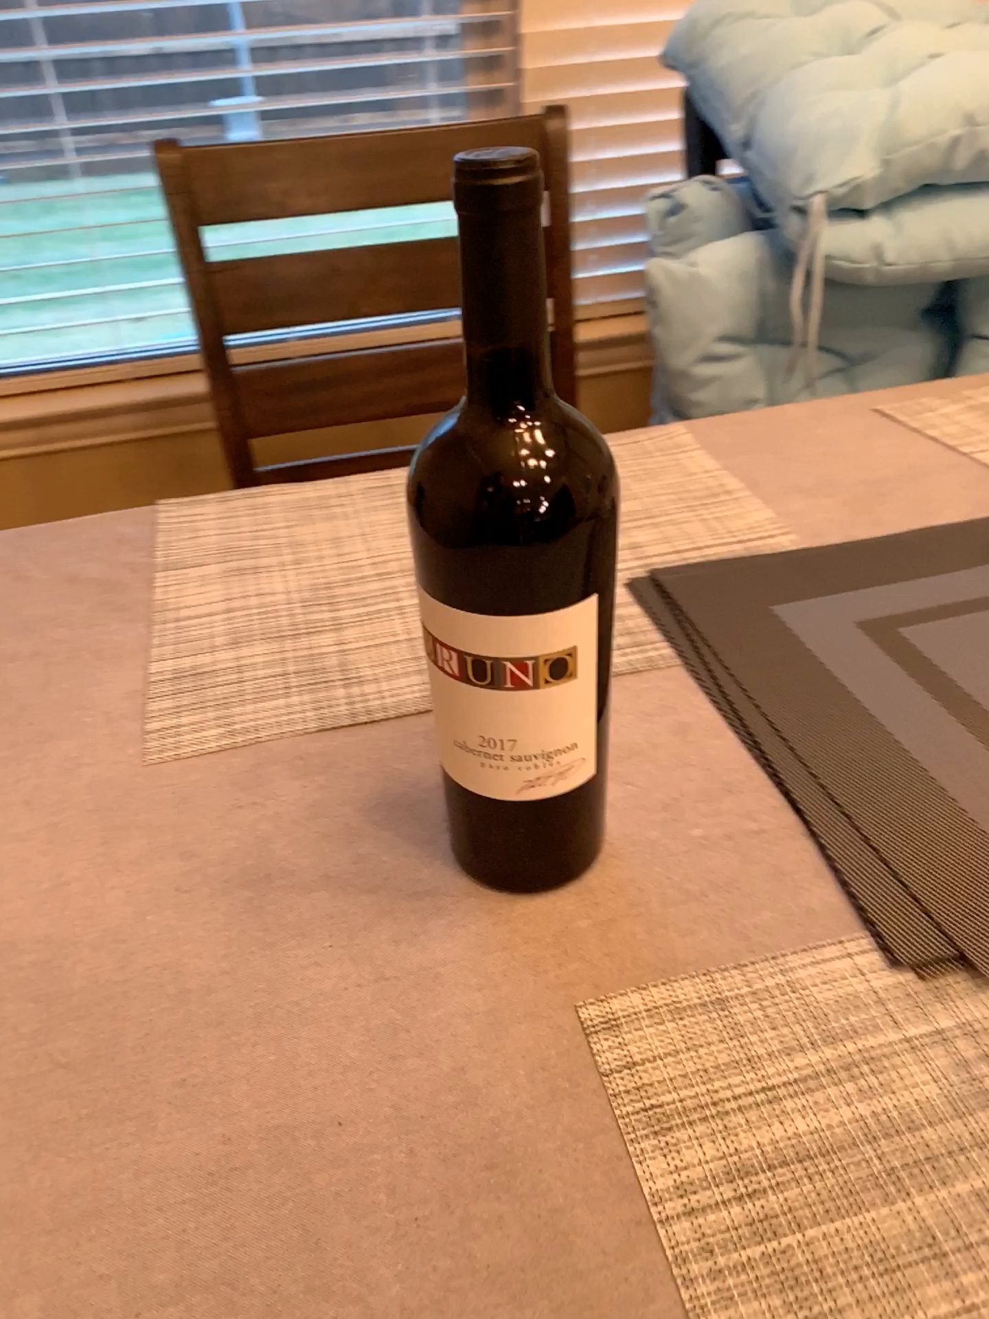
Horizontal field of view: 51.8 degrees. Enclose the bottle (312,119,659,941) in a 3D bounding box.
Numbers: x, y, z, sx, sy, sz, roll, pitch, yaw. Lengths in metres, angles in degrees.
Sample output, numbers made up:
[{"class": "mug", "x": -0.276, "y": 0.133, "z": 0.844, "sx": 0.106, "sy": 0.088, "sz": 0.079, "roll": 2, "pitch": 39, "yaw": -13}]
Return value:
[{"class": "bottle", "x": 0.009, "y": -0.035, "z": 0.395, "sx": 0.083, "sy": 0.298, "sz": 0.090, "roll": -2, "pitch": 33, "yaw": 2}]
